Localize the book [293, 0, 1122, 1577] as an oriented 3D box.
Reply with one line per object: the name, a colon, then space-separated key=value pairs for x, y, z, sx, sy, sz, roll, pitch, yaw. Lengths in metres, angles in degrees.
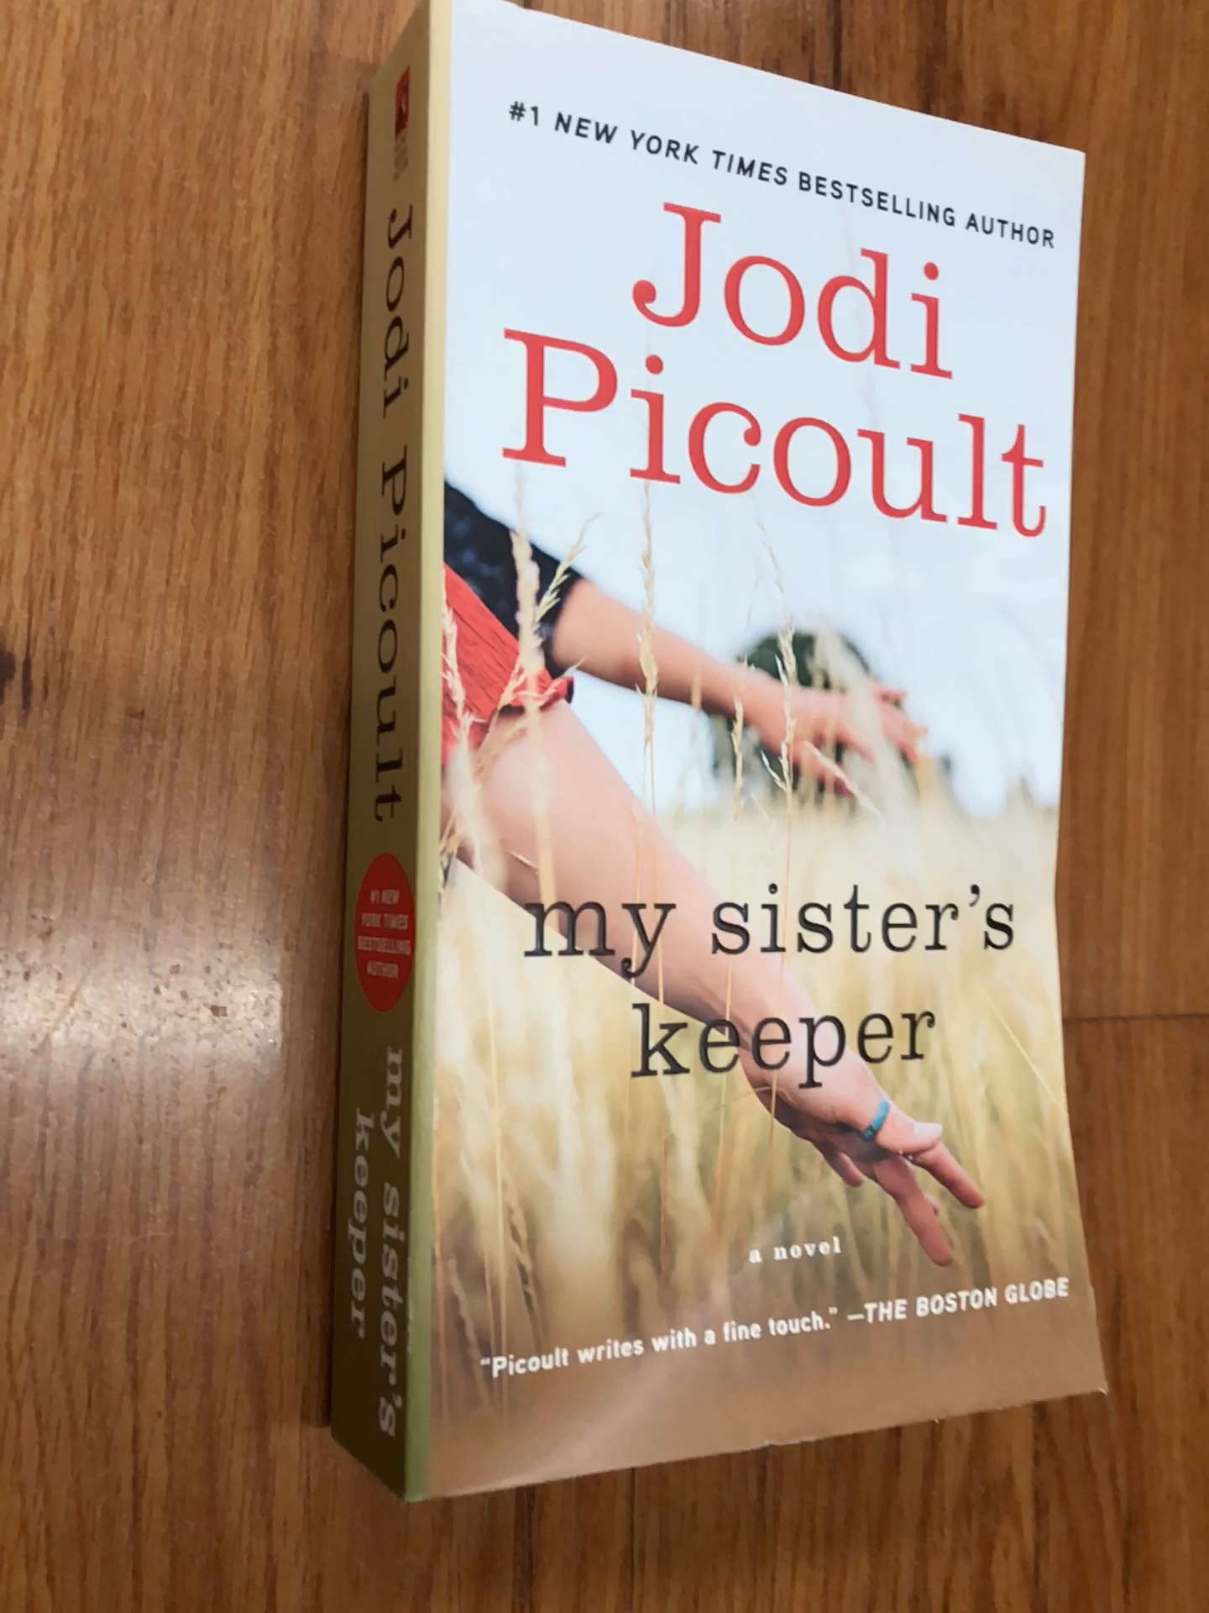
book: x=0.018 y=-0.008 z=0.193 sx=0.110 sy=0.040 sz=0.190 roll=2 pitch=87 yaw=-25
